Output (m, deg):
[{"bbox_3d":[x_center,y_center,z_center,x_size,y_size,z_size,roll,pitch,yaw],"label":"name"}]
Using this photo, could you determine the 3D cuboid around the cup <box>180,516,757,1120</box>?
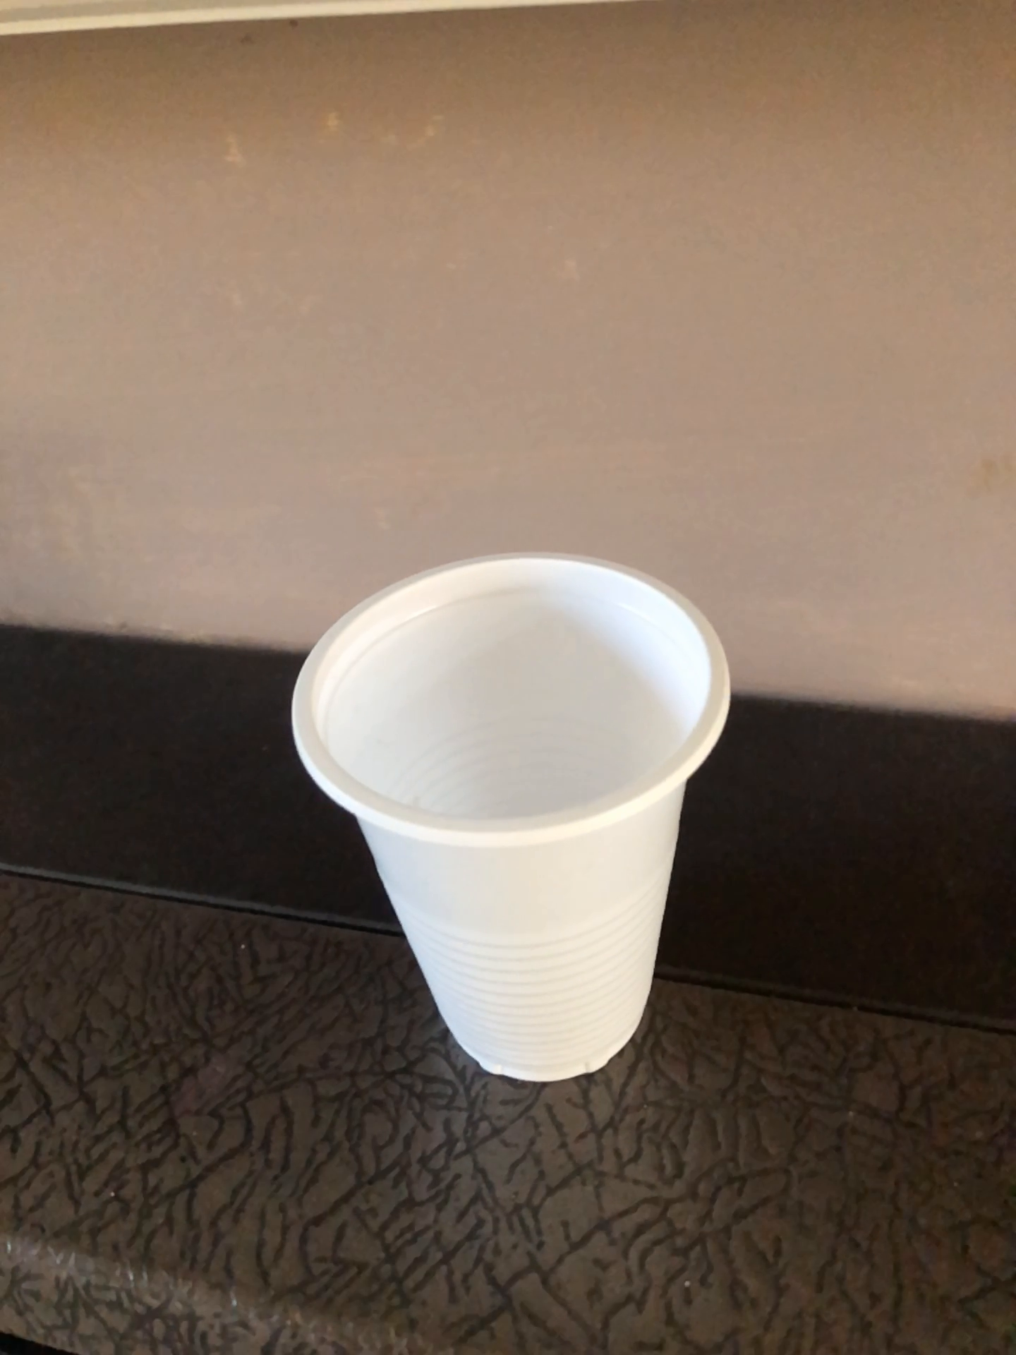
[{"bbox_3d":[0.001,0.023,0.214,0.079,0.073,0.073,-5,41,4],"label":"cup"}]
